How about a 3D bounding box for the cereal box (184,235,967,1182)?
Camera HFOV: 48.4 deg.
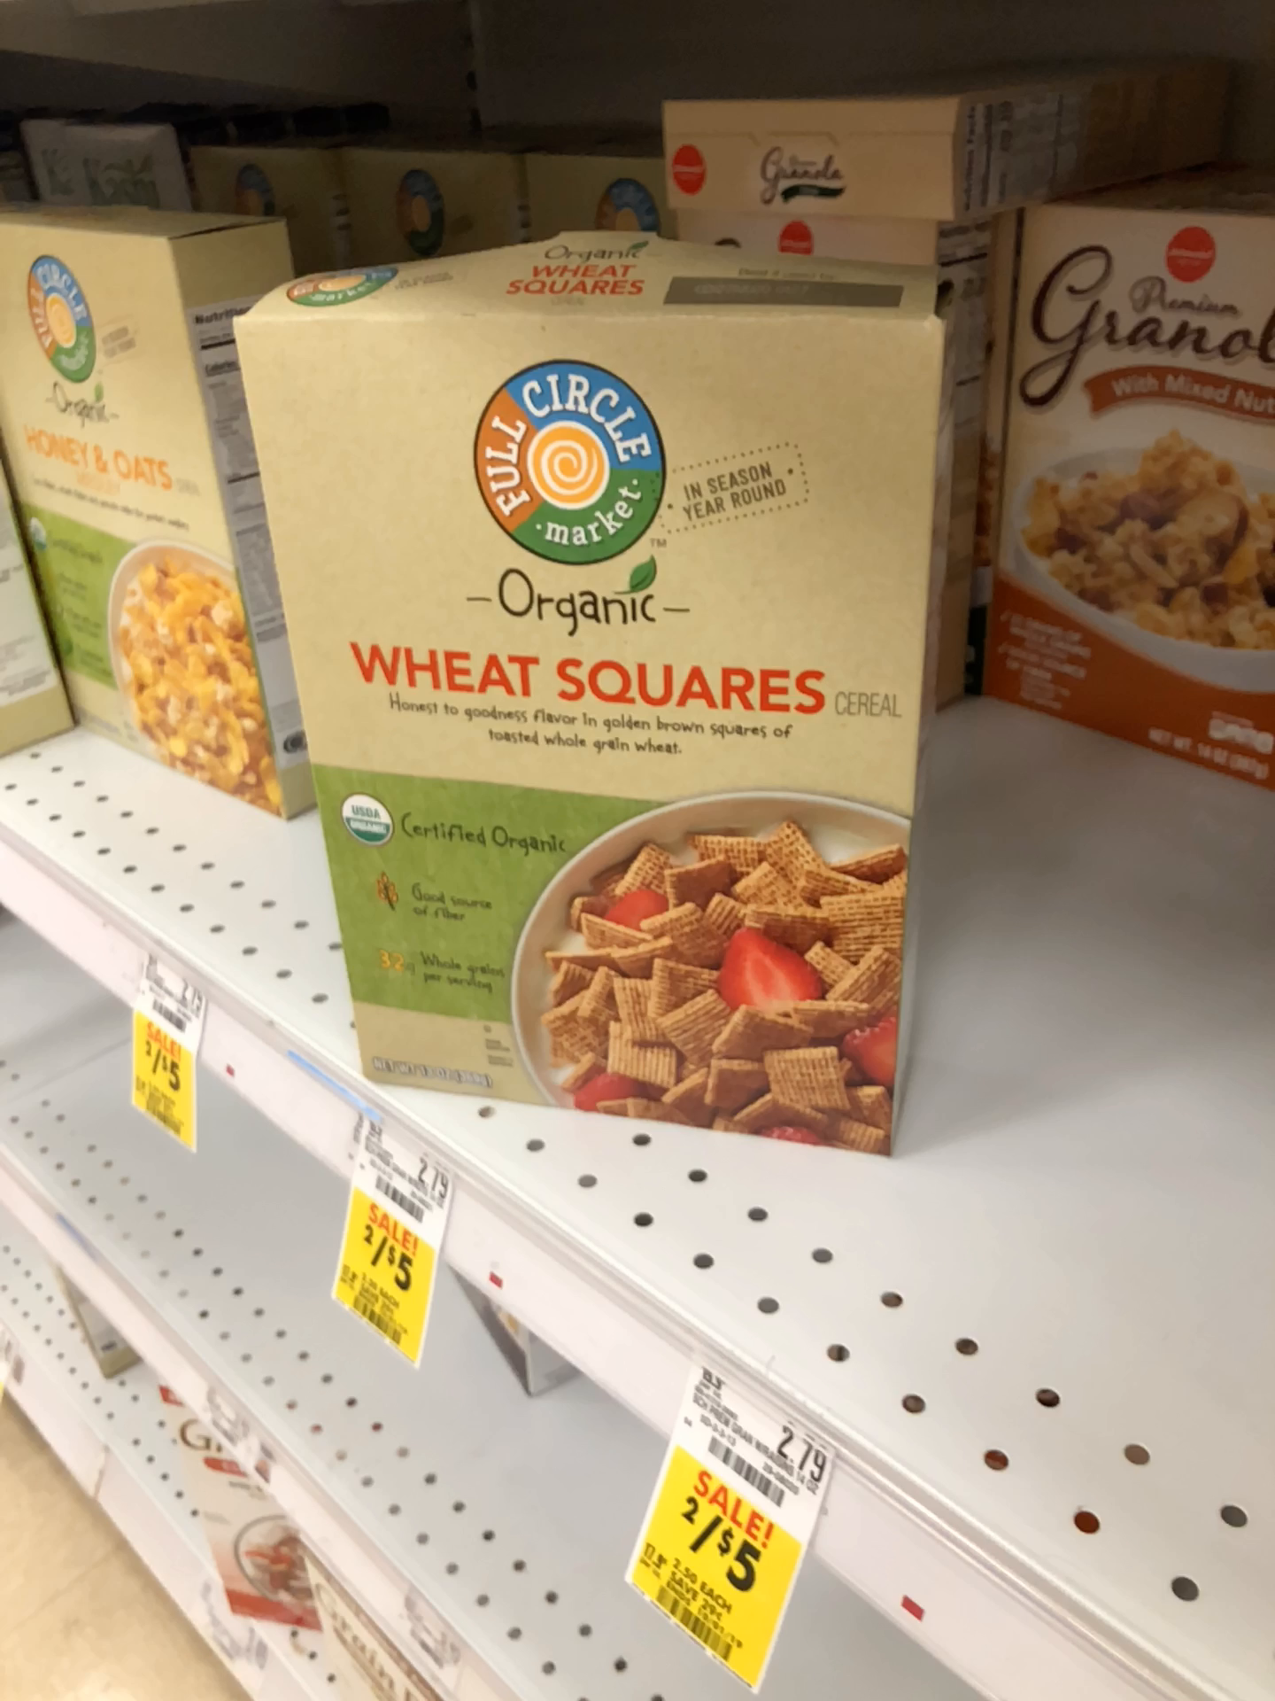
[{"bbox_3d":[-0.008,-0.033,0.442,0.200,0.279,0.050,5,32,16],"label":"cereal box"}]
